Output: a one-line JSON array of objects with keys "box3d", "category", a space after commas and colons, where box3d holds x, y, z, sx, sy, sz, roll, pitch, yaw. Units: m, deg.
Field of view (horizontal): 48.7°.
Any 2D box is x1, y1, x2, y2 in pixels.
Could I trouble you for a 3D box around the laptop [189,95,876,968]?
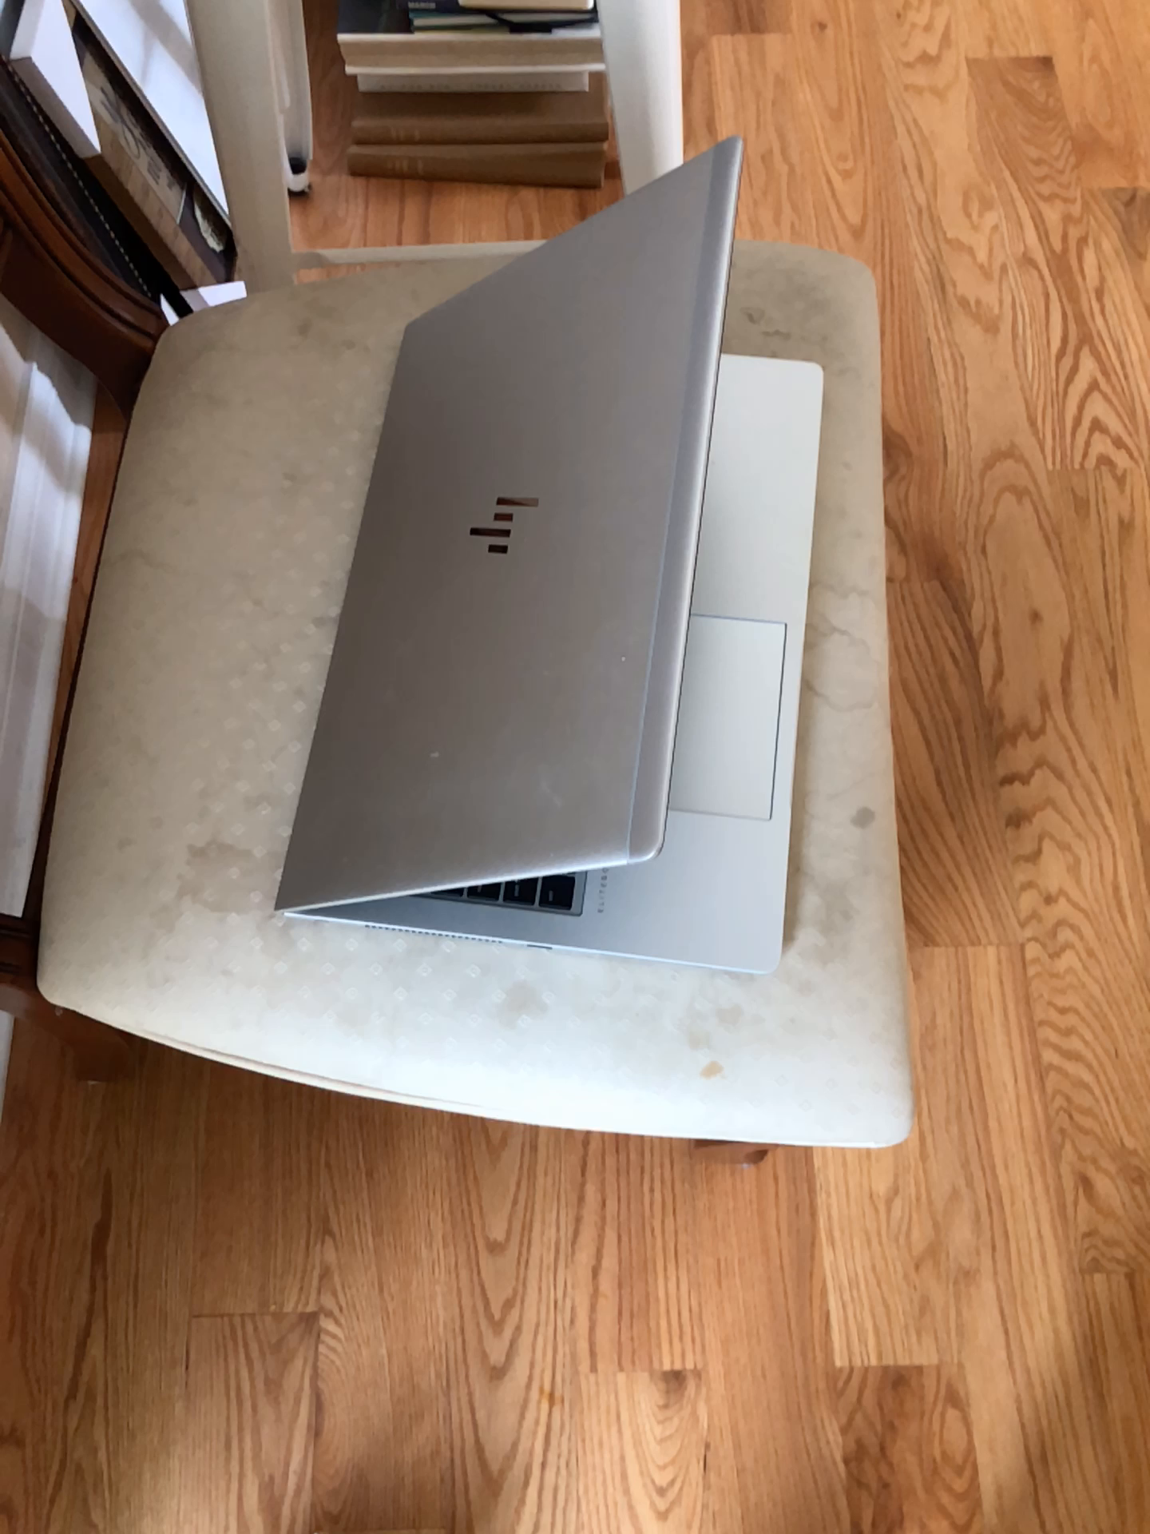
[{"box3d": [-0.001, -0.114, 0.619, 0.244, 0.159, 0.366, 7, 69, 3], "category": "laptop"}]
